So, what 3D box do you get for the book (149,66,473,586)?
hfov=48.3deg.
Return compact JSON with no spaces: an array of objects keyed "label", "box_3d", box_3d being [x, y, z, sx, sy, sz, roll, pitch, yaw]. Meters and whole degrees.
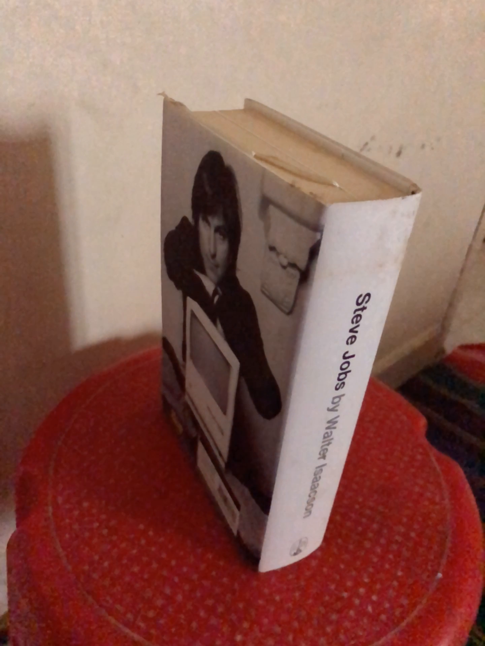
[{"label":"book","box_3d":[0.007,-0.003,0.304,0.060,0.229,0.171,-13,38,-25]}]
